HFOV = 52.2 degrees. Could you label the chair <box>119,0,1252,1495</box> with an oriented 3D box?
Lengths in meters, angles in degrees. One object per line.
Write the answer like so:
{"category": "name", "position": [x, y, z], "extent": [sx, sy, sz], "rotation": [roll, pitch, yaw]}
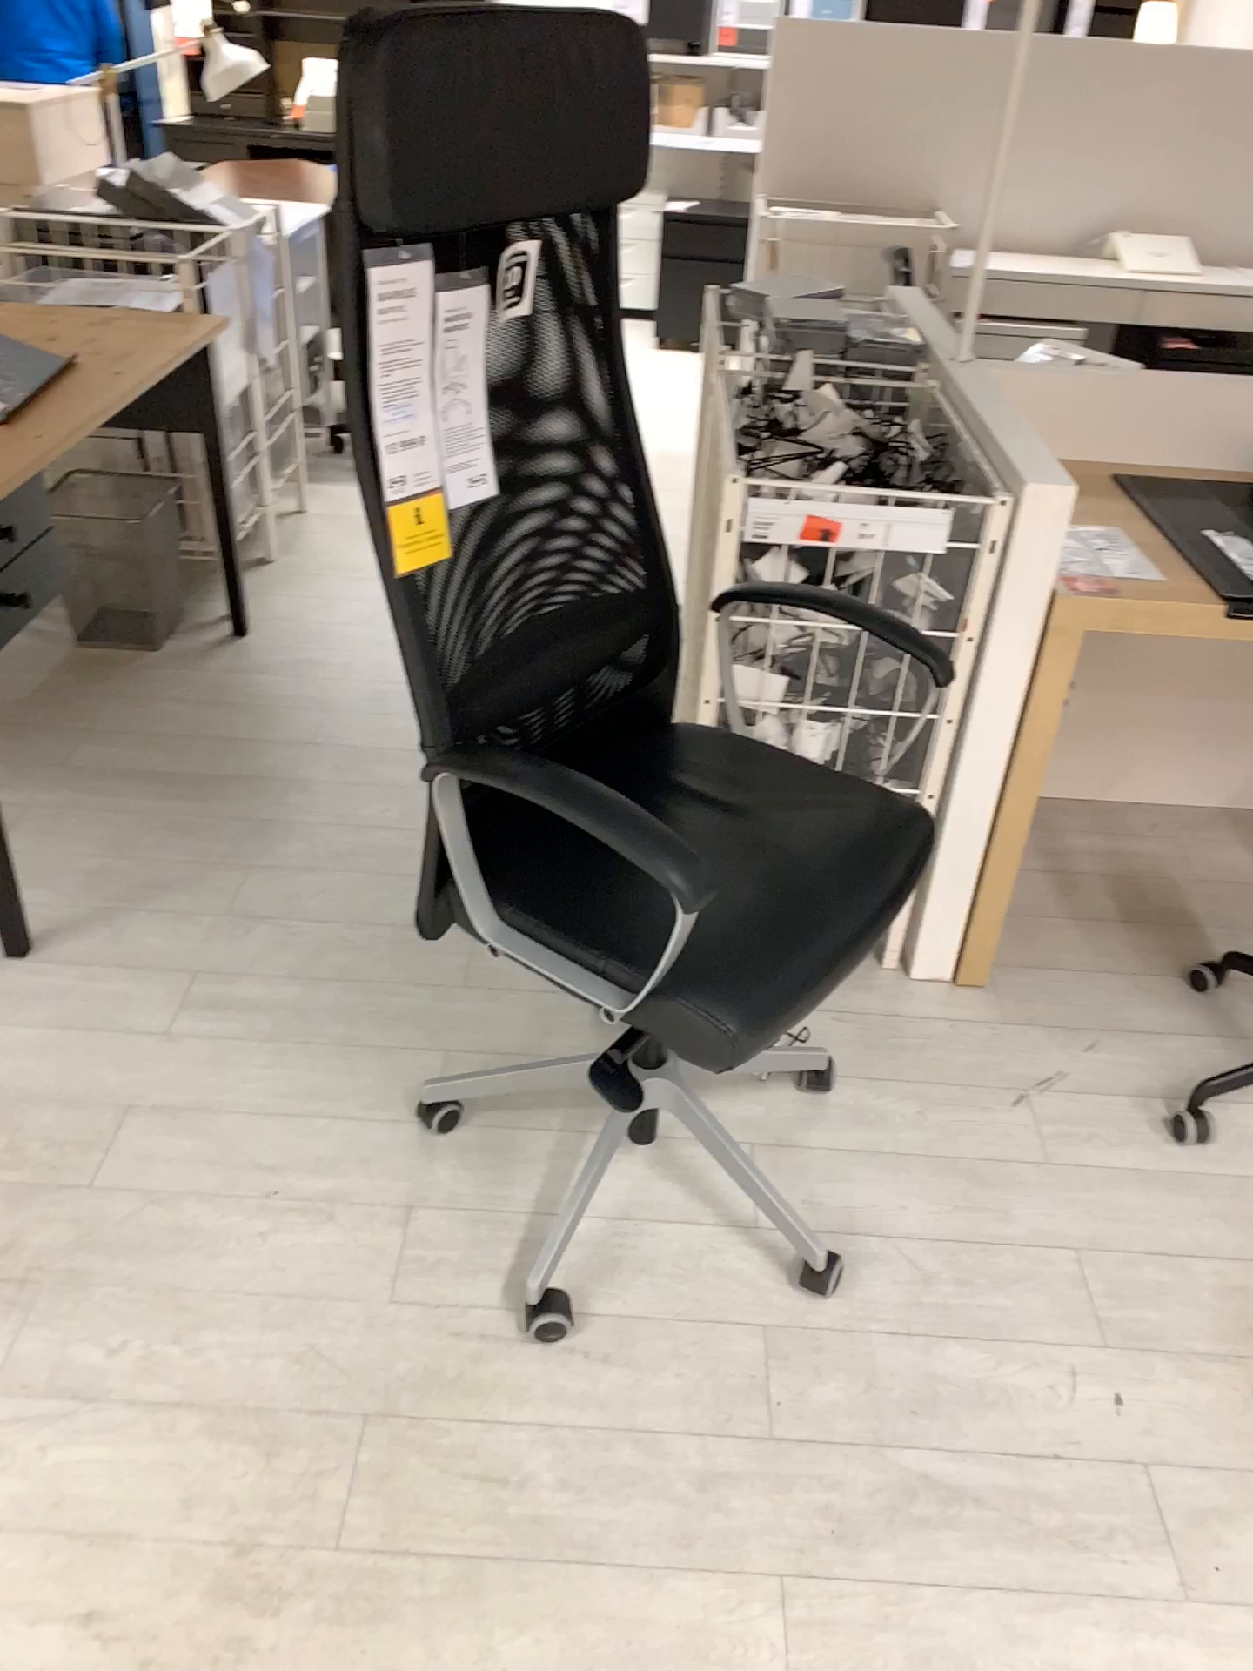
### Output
{"category": "chair", "position": [0.073, -0.126, 1.396], "extent": [0.680, 1.293, 0.725], "rotation": [22, 37, 25]}
